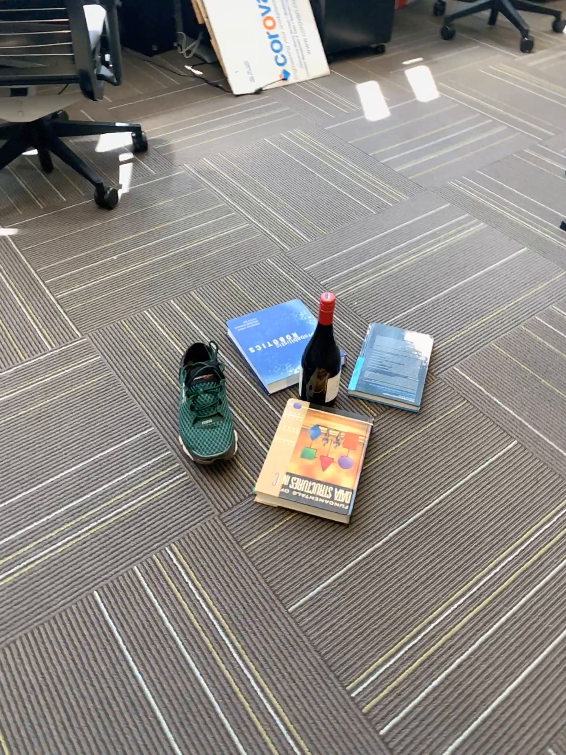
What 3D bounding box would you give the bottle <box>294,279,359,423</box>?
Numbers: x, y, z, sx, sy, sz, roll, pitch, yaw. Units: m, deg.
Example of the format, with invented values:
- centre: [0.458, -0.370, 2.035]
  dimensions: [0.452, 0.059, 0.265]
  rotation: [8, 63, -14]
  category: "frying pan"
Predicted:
- centre: [0.084, -0.045, 1.175]
  dimensions: [0.080, 0.298, 0.090]
  rotation: [21, 50, 17]
  category: "bottle"
